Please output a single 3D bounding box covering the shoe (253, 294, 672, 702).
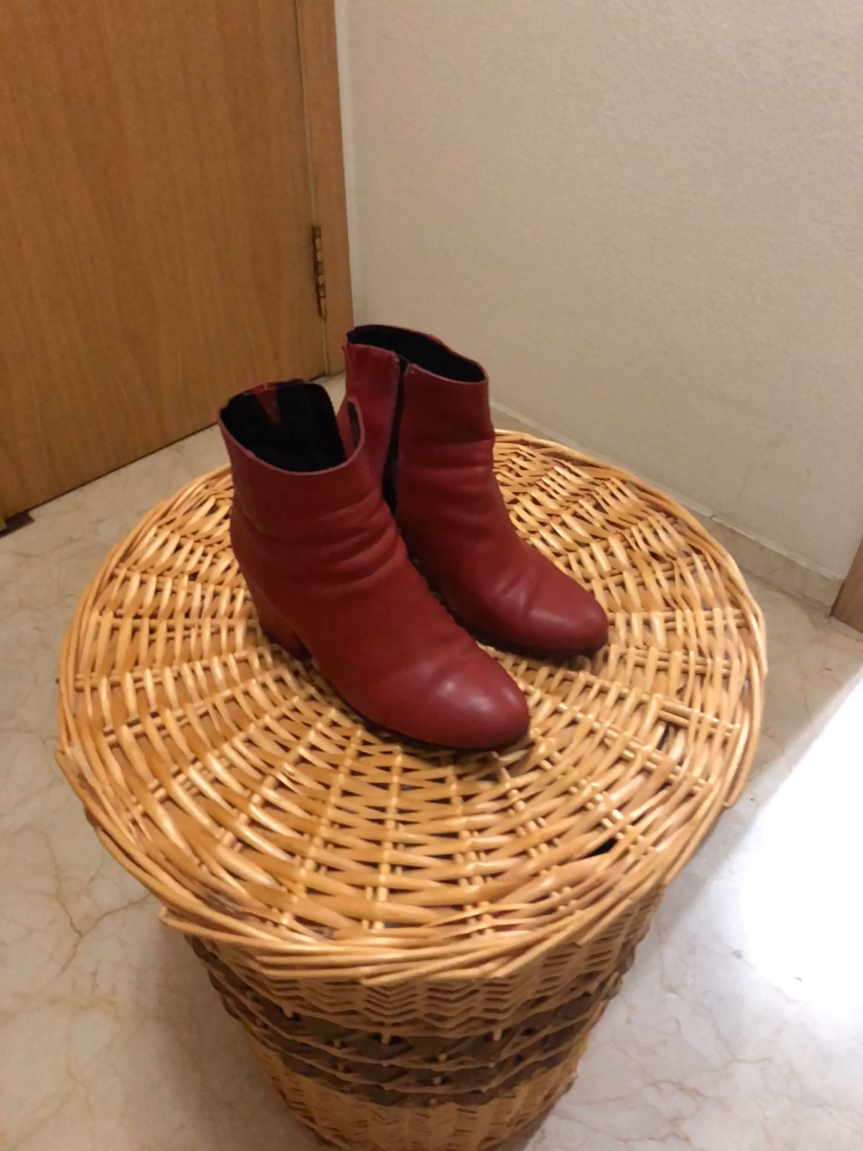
[{"bbox_3d":[0.015,-0.057,0.651,0.245,0.184,0.099,24,47,24],"label":"shoe"}]

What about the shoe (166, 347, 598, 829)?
[{"bbox_3d":[-0.036,0.001,0.589,0.245,0.184,0.099,33,51,31],"label":"shoe"}]
